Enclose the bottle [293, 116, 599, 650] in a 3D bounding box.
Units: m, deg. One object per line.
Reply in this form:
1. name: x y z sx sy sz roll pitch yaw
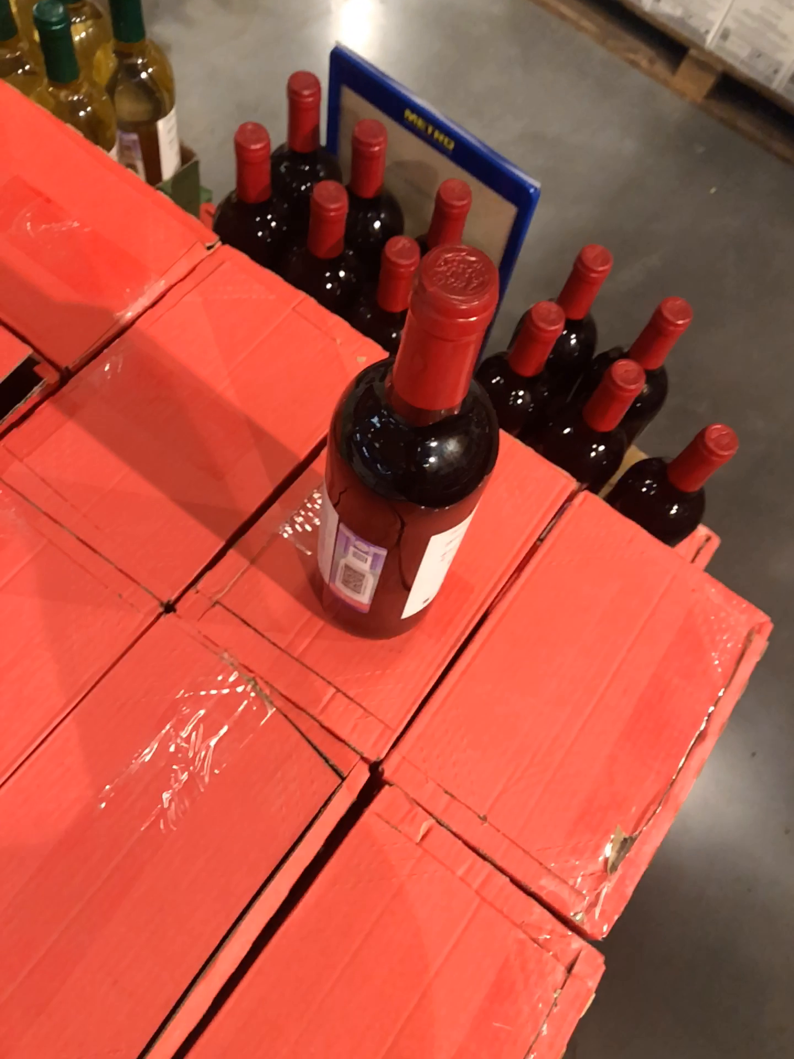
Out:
1. bottle: 0.003 -0.034 0.408 0.080 0.287 0.090 8 65 -6
